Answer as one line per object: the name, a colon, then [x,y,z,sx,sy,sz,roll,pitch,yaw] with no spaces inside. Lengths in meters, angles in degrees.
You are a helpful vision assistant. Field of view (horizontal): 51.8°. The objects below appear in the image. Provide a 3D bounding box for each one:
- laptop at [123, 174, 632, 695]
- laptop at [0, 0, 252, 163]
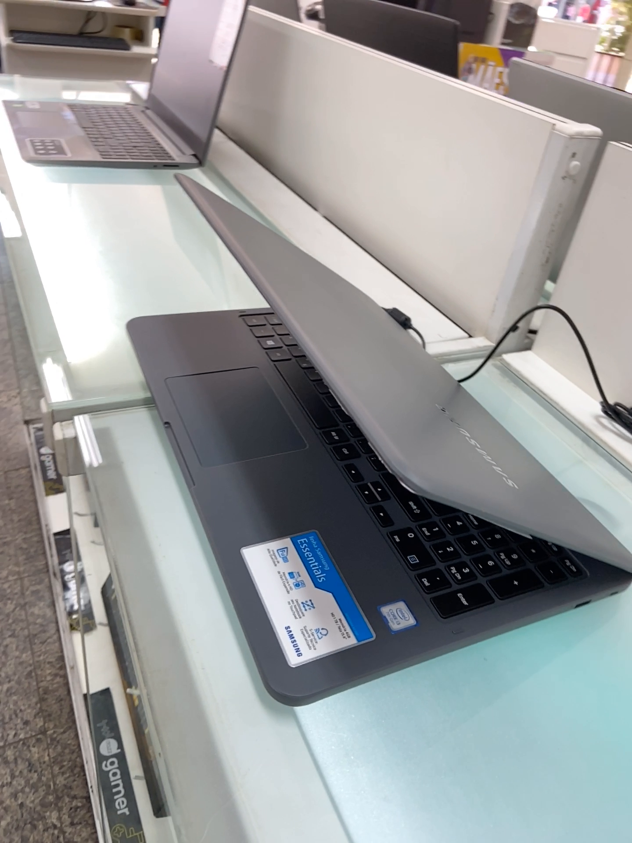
laptop: [0.026,-0.046,0.456,0.237,0.126,0.368,-10,41,-24]
laptop: [-0.318,-0.576,1.021,0.313,0.225,0.310,-9,40,-21]
